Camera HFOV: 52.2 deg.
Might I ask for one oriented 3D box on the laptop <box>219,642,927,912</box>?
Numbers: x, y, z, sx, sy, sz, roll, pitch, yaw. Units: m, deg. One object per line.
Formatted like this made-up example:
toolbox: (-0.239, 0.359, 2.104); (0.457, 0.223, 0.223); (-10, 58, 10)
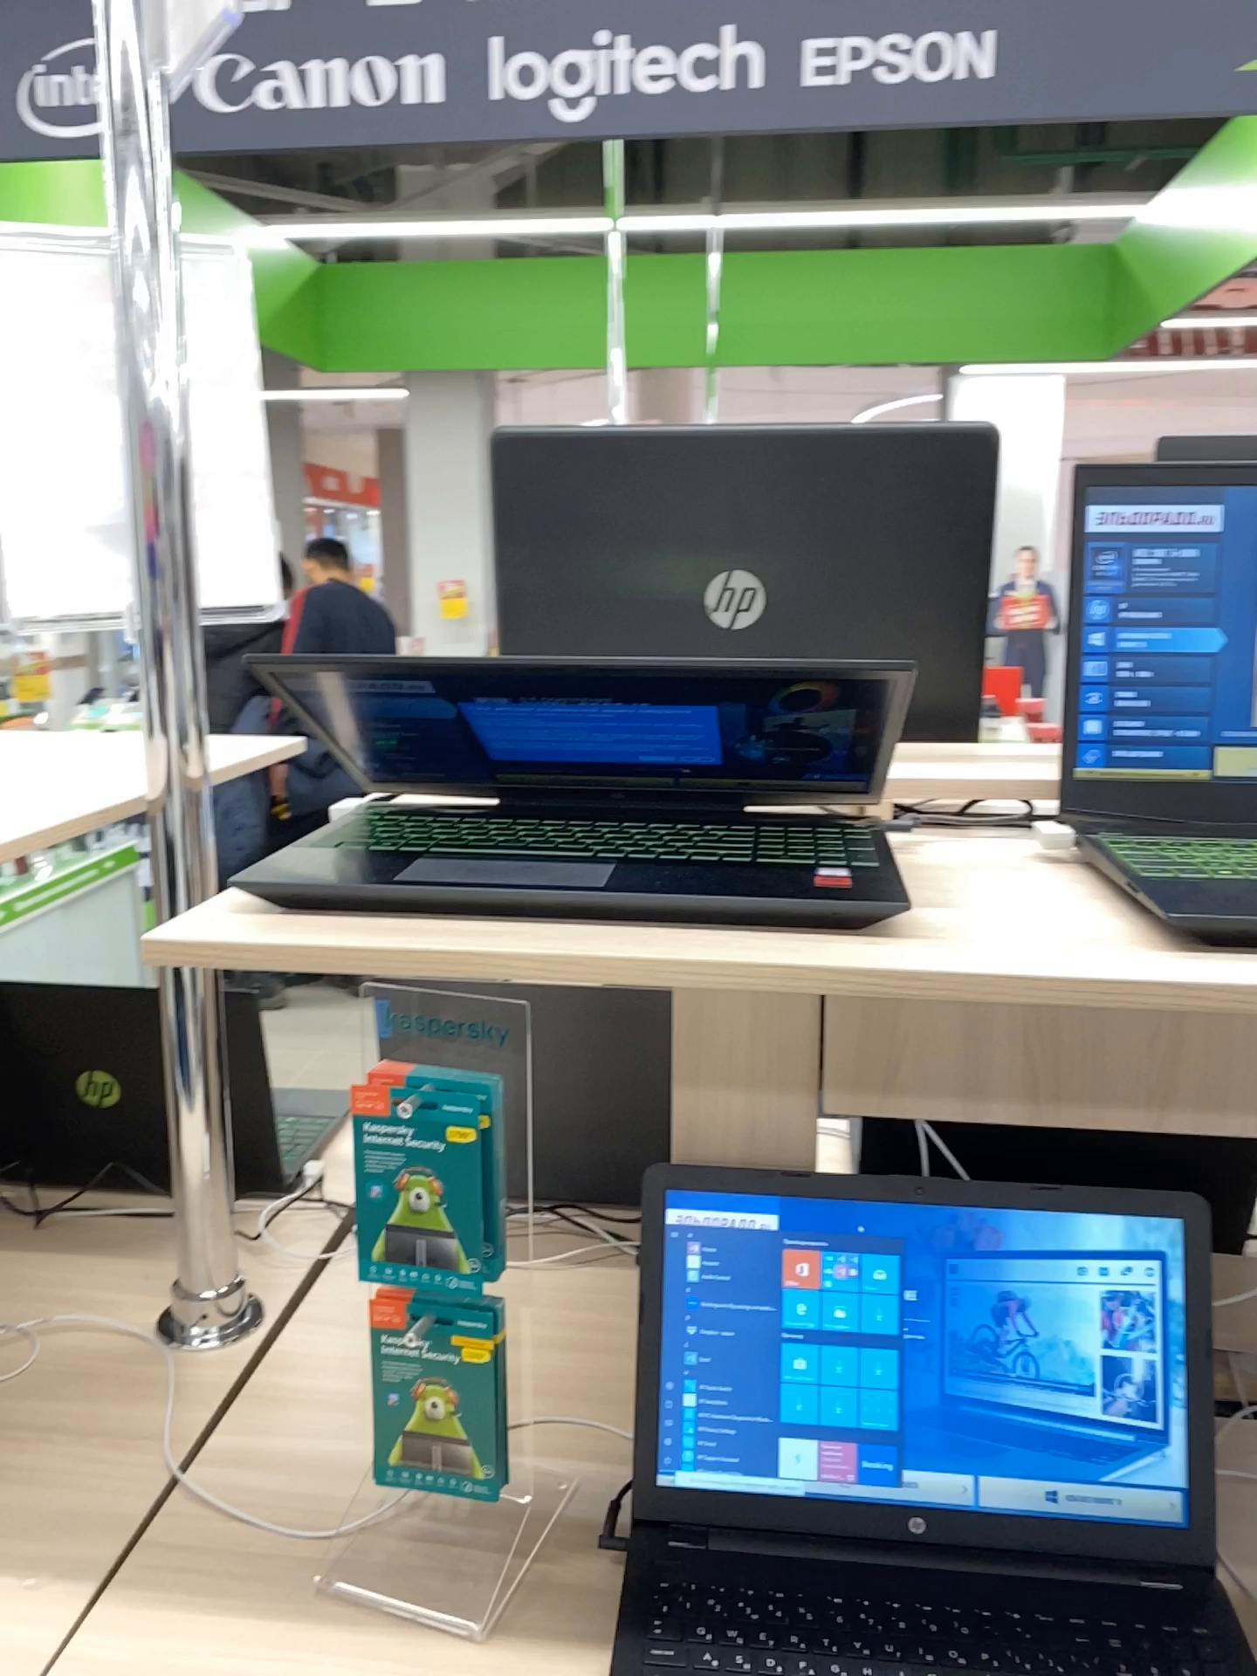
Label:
laptop: (-0.020, -0.051, 0.779); (0.365, 0.115, 0.244); (2, 11, 7)
